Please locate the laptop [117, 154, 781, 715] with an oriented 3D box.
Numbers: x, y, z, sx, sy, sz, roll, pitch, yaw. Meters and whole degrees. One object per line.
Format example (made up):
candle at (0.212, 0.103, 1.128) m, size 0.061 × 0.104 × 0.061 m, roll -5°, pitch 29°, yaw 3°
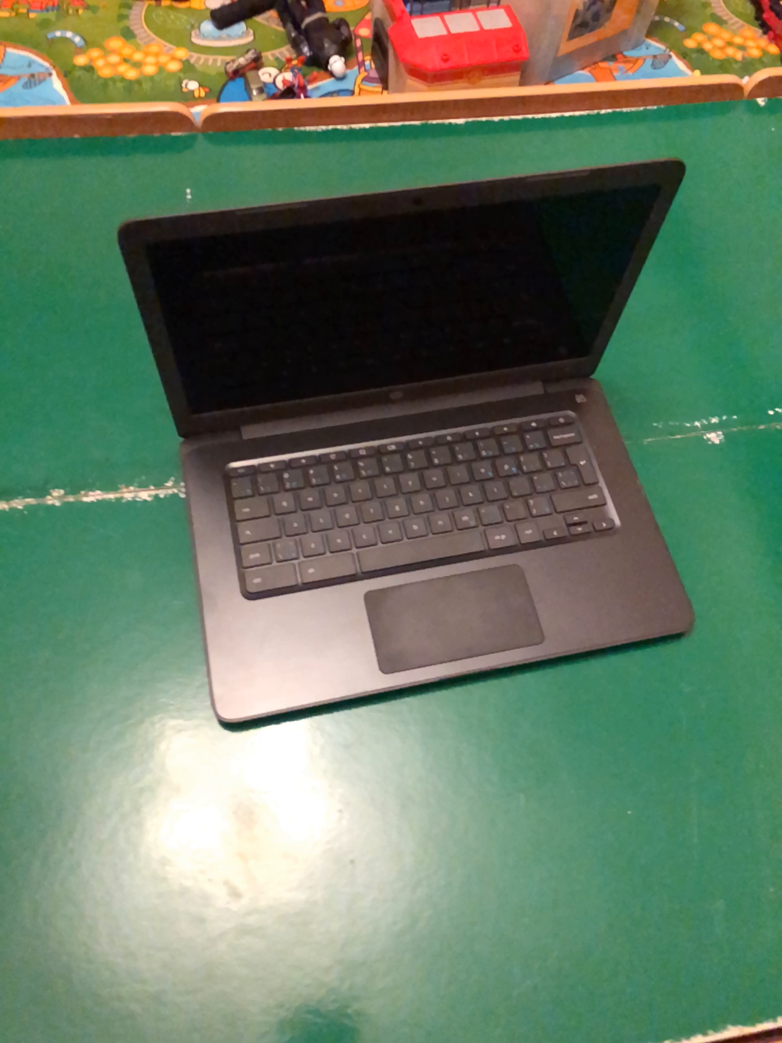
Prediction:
laptop at (0.024, -0.046, 0.523) m, size 0.317 × 0.204 × 0.211 m, roll -10°, pitch 62°, yaw -8°
